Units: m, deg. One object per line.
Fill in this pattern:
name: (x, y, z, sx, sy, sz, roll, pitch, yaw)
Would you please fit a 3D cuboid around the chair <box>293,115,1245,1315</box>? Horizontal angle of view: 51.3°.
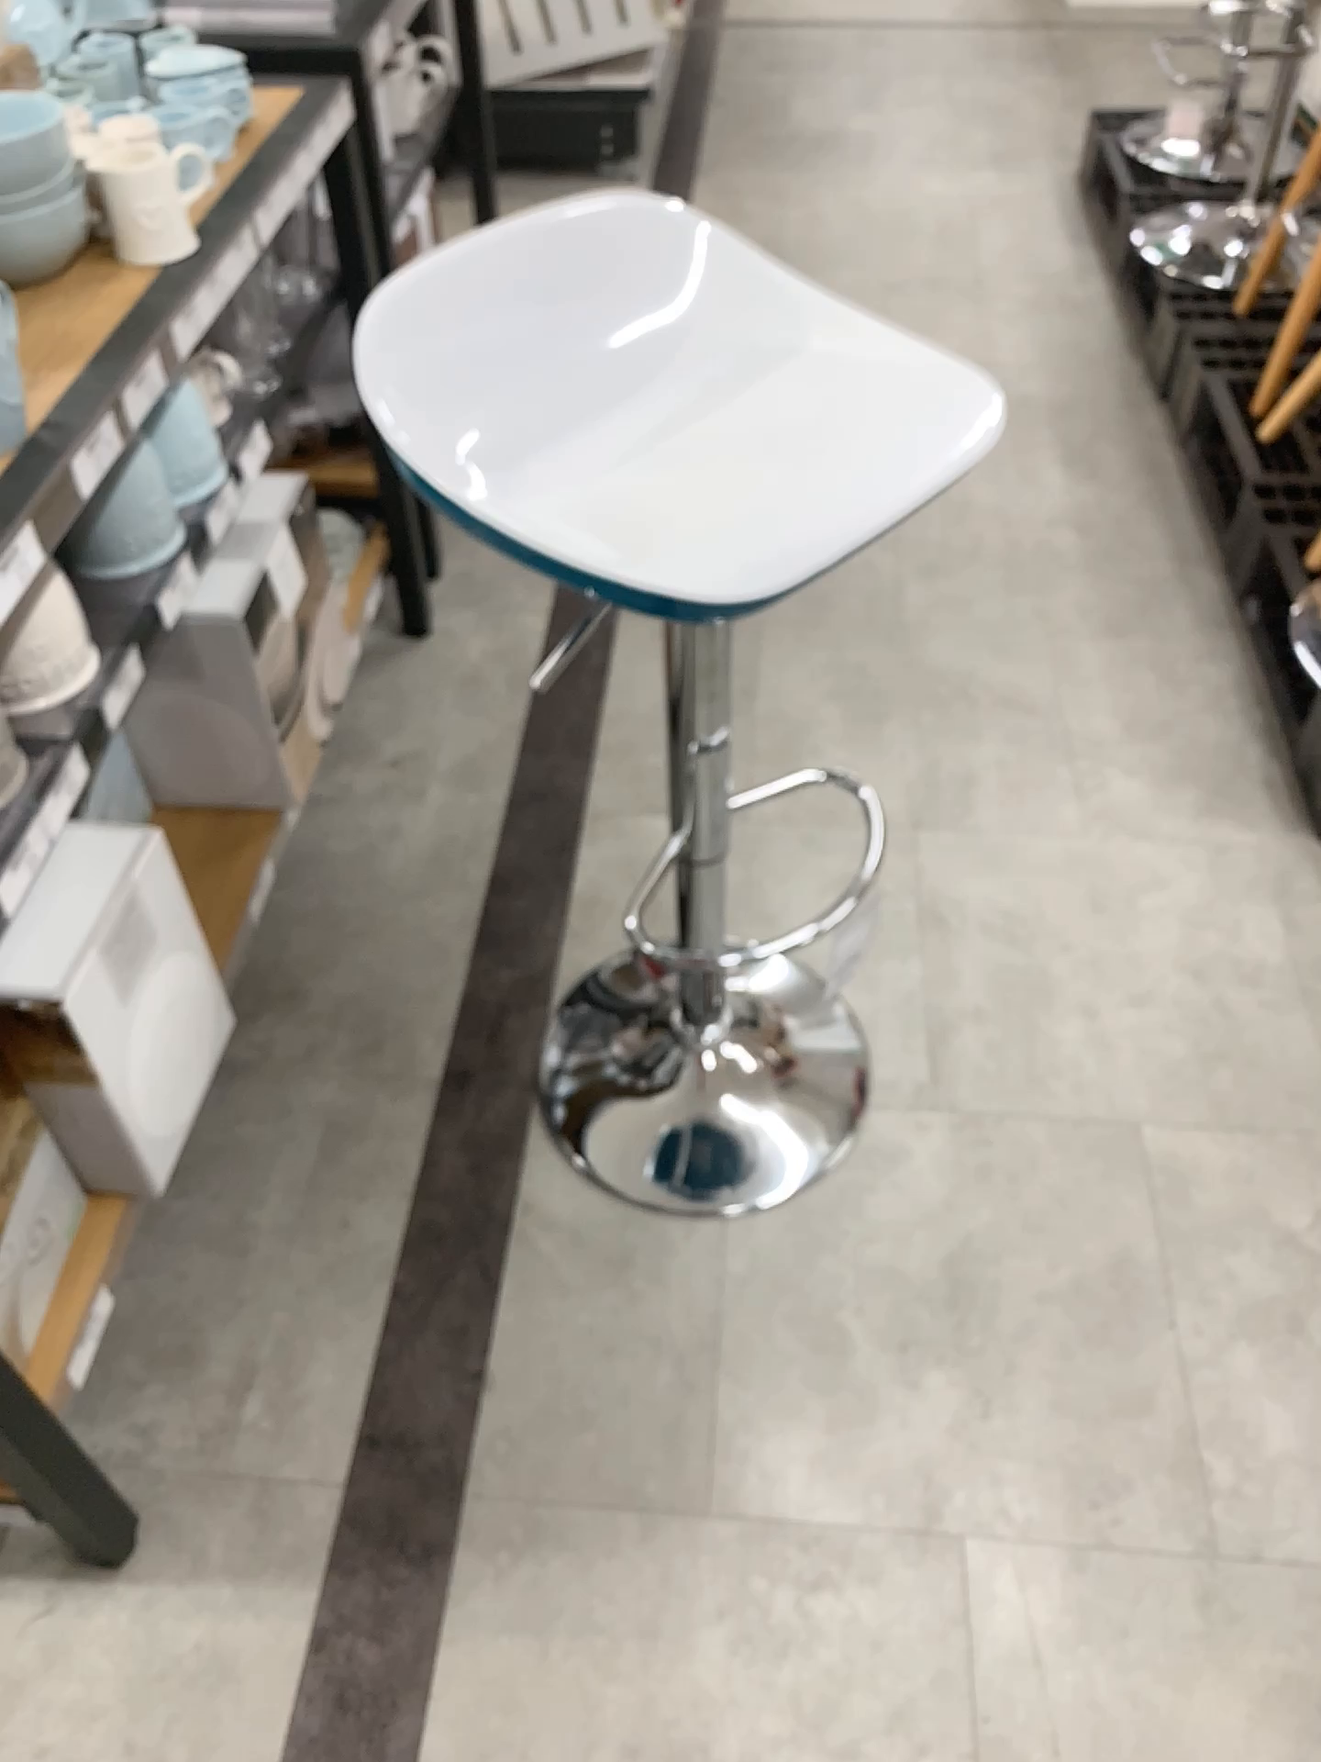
chair: (0.074, -0.106, 1.192, 0.422, 0.825, 0.456, 36, 56, 29)
